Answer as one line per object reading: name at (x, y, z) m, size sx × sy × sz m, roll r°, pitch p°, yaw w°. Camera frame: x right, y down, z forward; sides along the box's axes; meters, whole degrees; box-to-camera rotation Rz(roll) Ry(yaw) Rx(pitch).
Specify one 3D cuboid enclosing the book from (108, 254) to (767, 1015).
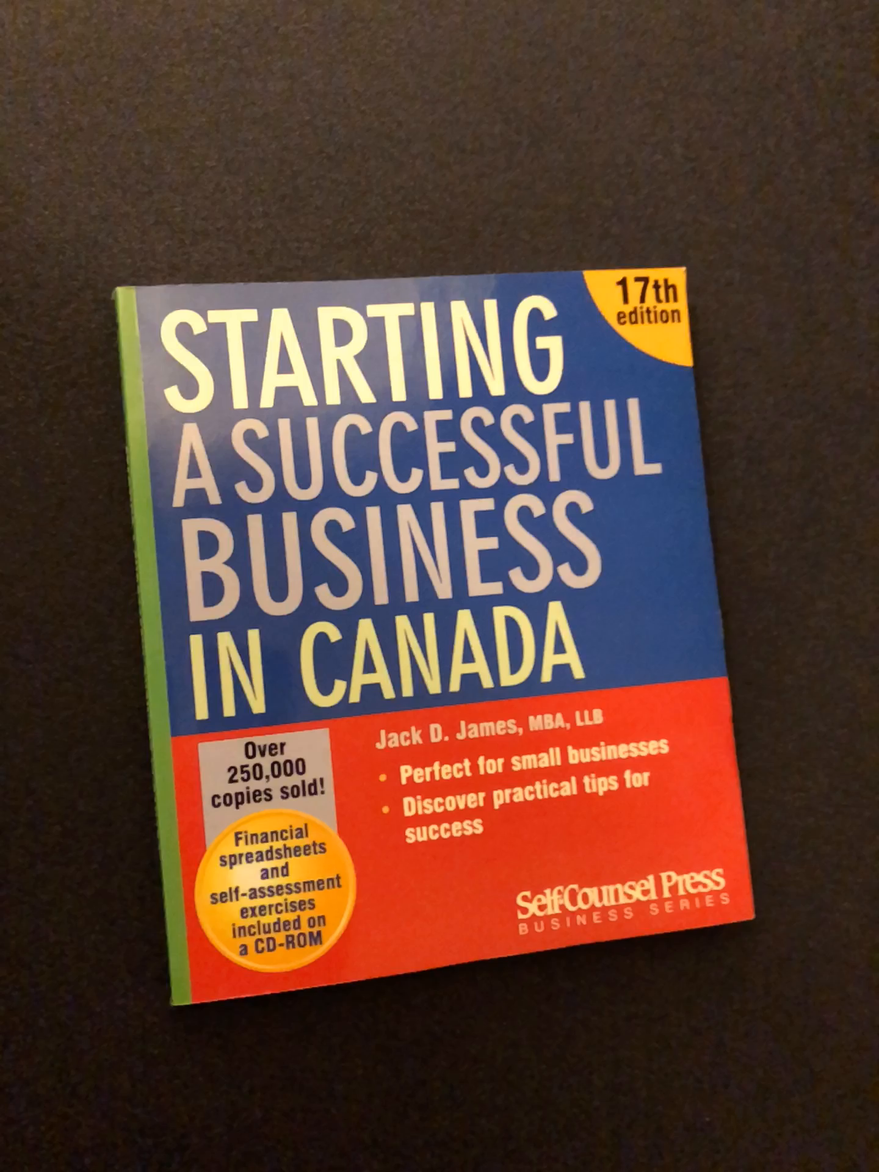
book at (-0.001, 0.009, 0.356) m, size 0.210 × 0.040 × 0.247 m, roll -4°, pitch 86°, yaw -9°
